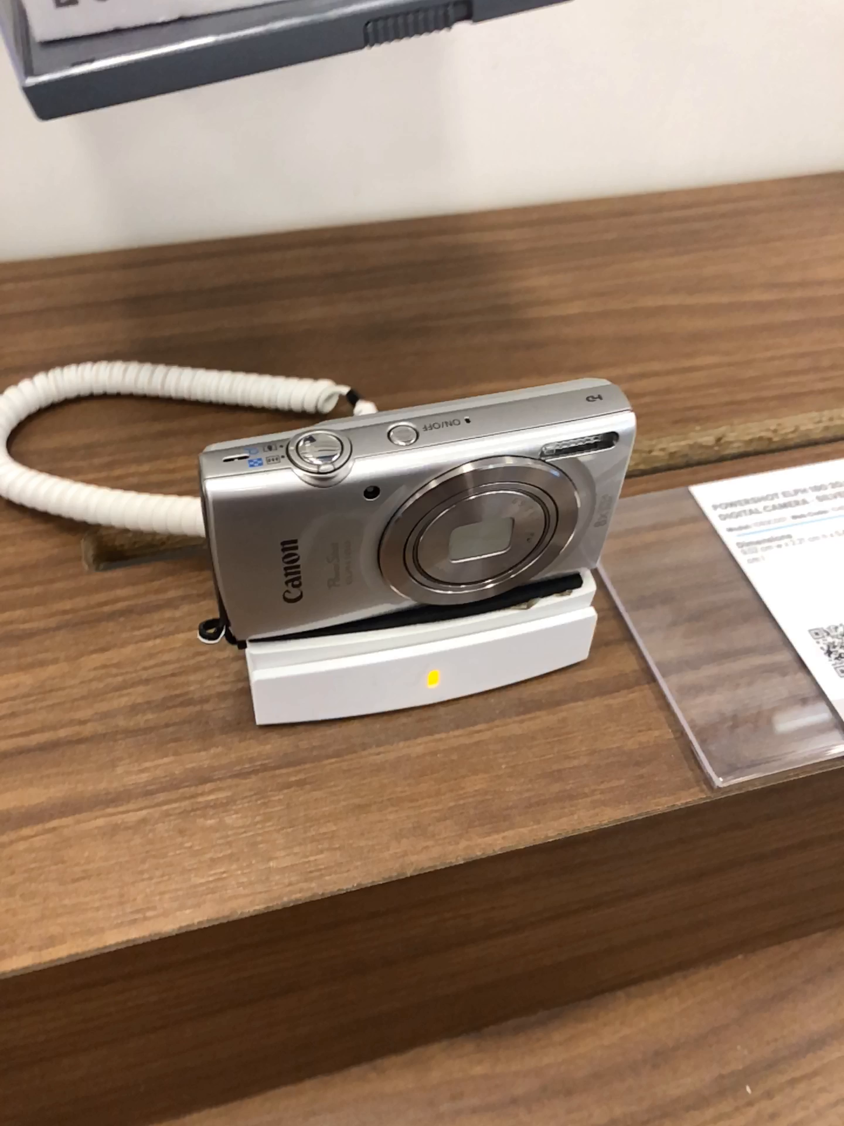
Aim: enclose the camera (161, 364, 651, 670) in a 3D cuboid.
[{"bbox_3d":[-0.004,-0.009,0.221,0.100,0.060,0.020,-11,54,-11],"label":"camera"}]
